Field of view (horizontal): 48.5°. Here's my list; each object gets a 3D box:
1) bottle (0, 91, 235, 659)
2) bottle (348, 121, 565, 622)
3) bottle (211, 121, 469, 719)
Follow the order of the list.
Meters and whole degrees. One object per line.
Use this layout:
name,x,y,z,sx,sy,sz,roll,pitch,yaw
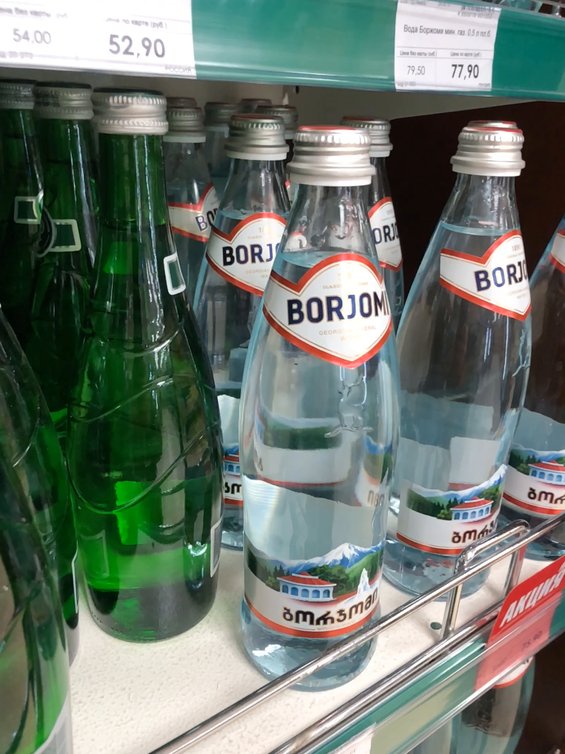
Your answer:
bottle,-0.066,0.003,0.283,0.069,0.237,0.065,1,22,-1
bottle,0.088,-0.001,0.318,0.069,0.236,0.065,1,22,-1
bottle,0.015,0.021,0.265,0.068,0.236,0.063,1,22,-1
